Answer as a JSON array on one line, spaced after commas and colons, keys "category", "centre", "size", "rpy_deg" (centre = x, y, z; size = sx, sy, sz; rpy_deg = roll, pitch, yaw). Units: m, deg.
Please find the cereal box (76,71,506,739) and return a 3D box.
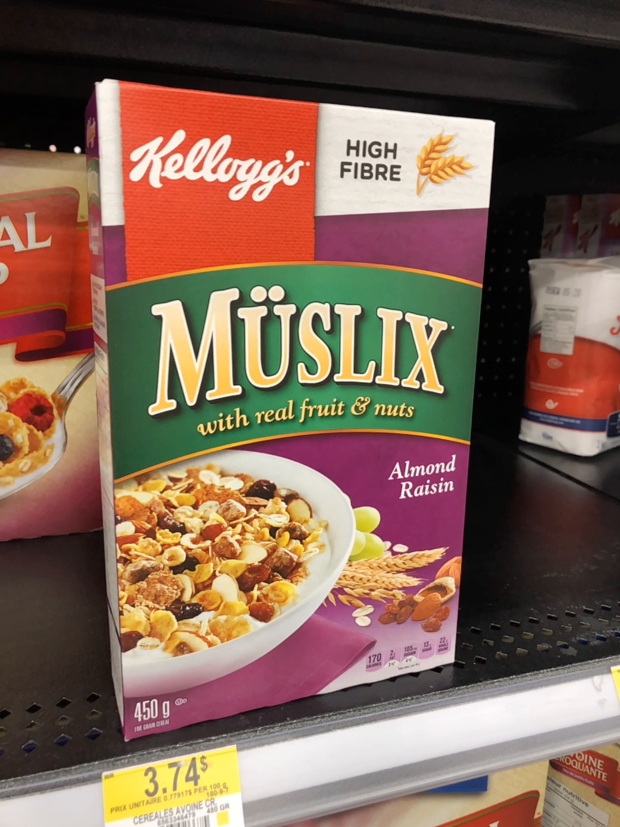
[{"category": "cereal box", "centre": [-0.010, -0.002, 0.319], "size": [0.170, 0.259, 0.060], "rpy_deg": [-4, 15, -22]}]
